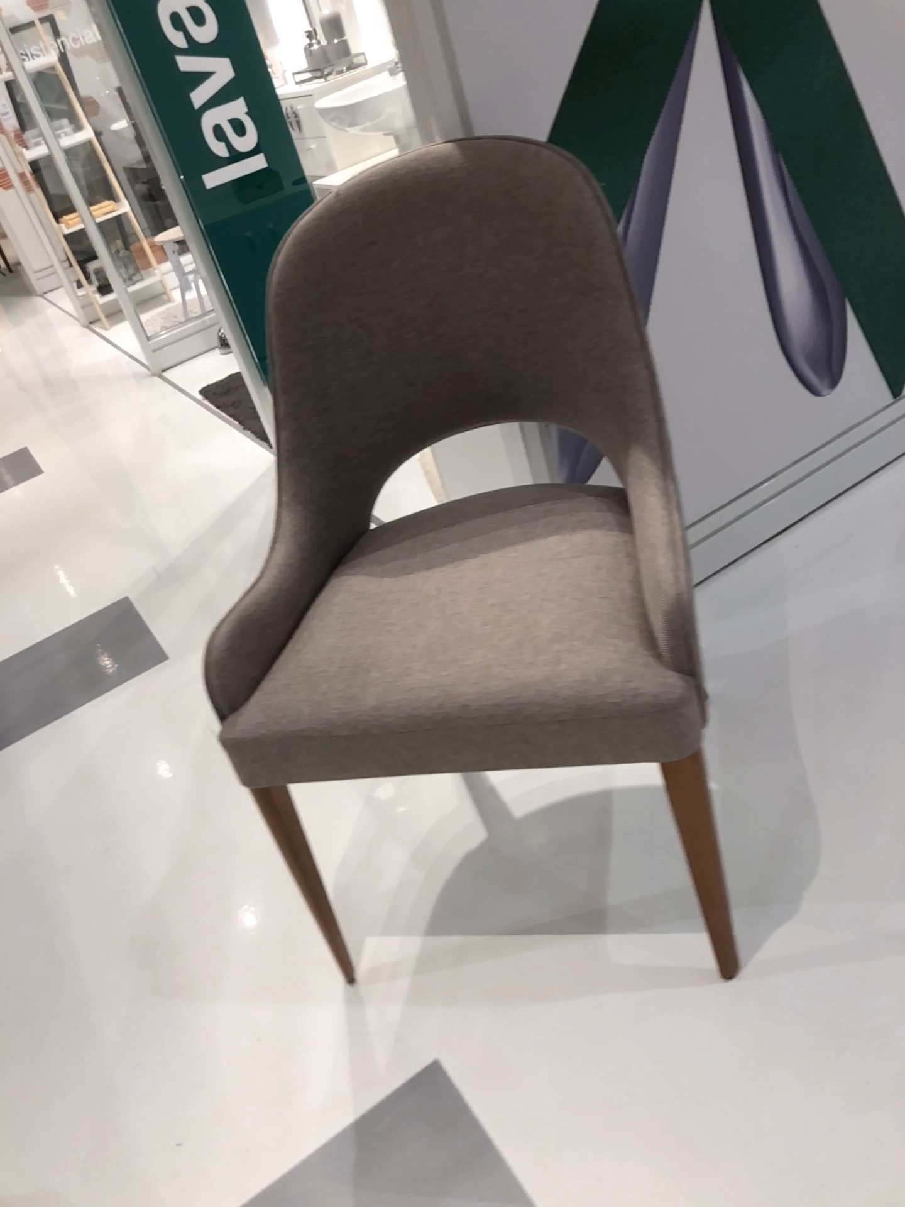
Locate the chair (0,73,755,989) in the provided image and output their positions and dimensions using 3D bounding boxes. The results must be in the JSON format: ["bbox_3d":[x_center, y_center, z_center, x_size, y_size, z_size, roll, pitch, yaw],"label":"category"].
[{"bbox_3d":[0.020,-0.059,1.258,0.570,0.893,0.615,-7,33,19],"label":"chair"}]
